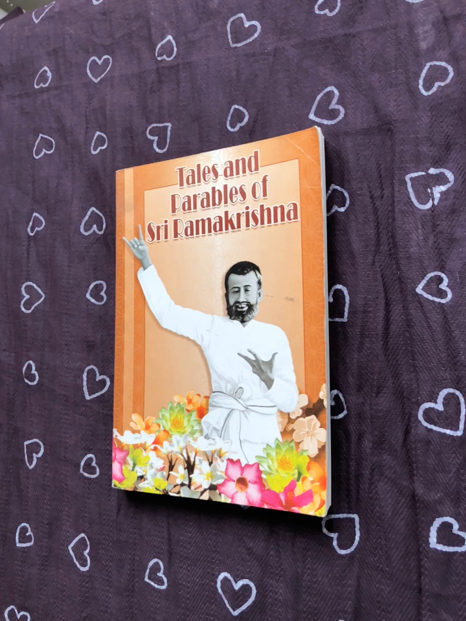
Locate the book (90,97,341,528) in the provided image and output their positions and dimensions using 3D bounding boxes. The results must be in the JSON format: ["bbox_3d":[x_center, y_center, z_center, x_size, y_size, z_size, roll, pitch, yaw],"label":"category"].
[{"bbox_3d":[-0.014,0.001,0.266,0.130,0.020,0.190,-3,83,27],"label":"book"}]
